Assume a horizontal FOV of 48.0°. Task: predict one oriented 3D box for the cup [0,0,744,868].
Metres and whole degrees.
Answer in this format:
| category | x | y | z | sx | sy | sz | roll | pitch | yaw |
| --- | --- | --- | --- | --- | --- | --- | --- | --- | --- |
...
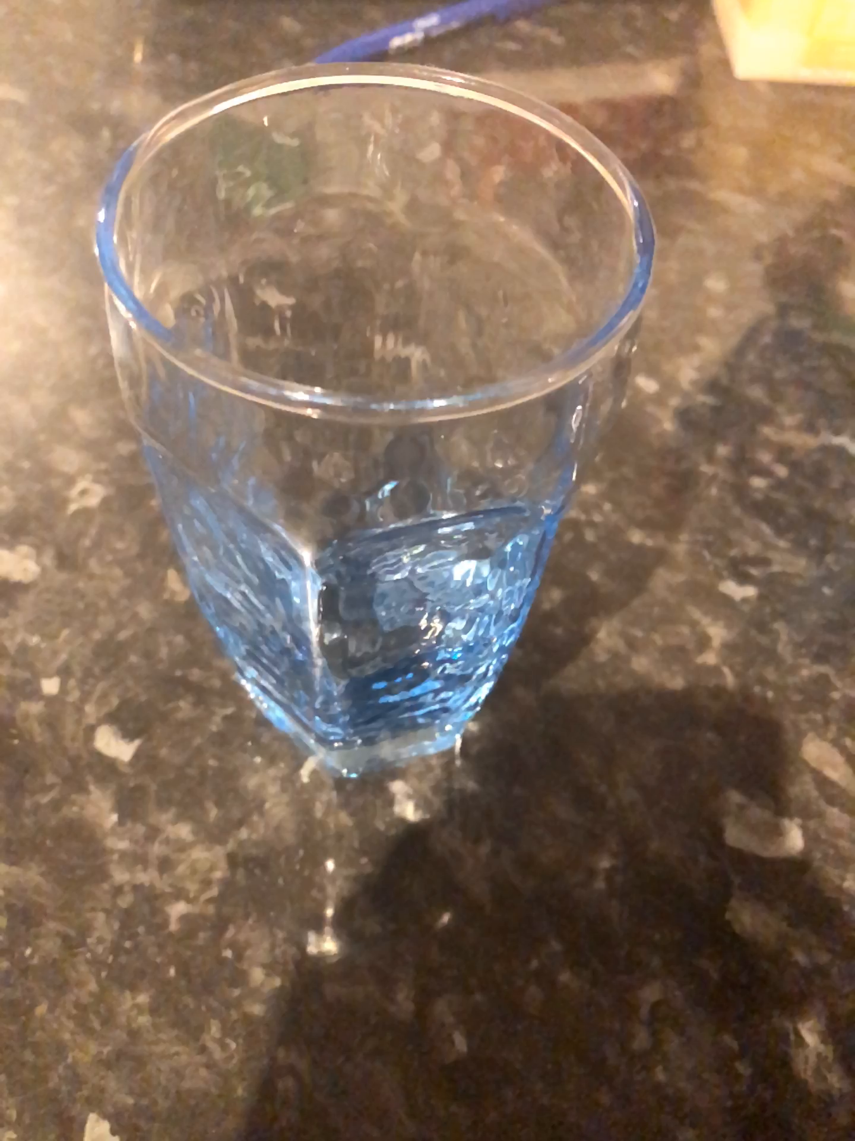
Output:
| category | x | y | z | sx | sy | sz | roll | pitch | yaw |
| --- | --- | --- | --- | --- | --- | --- | --- | --- | --- |
| cup | -0.016 | -0.019 | 0.171 | 0.070 | 0.119 | 0.080 | -31 | 63 | -23 |
